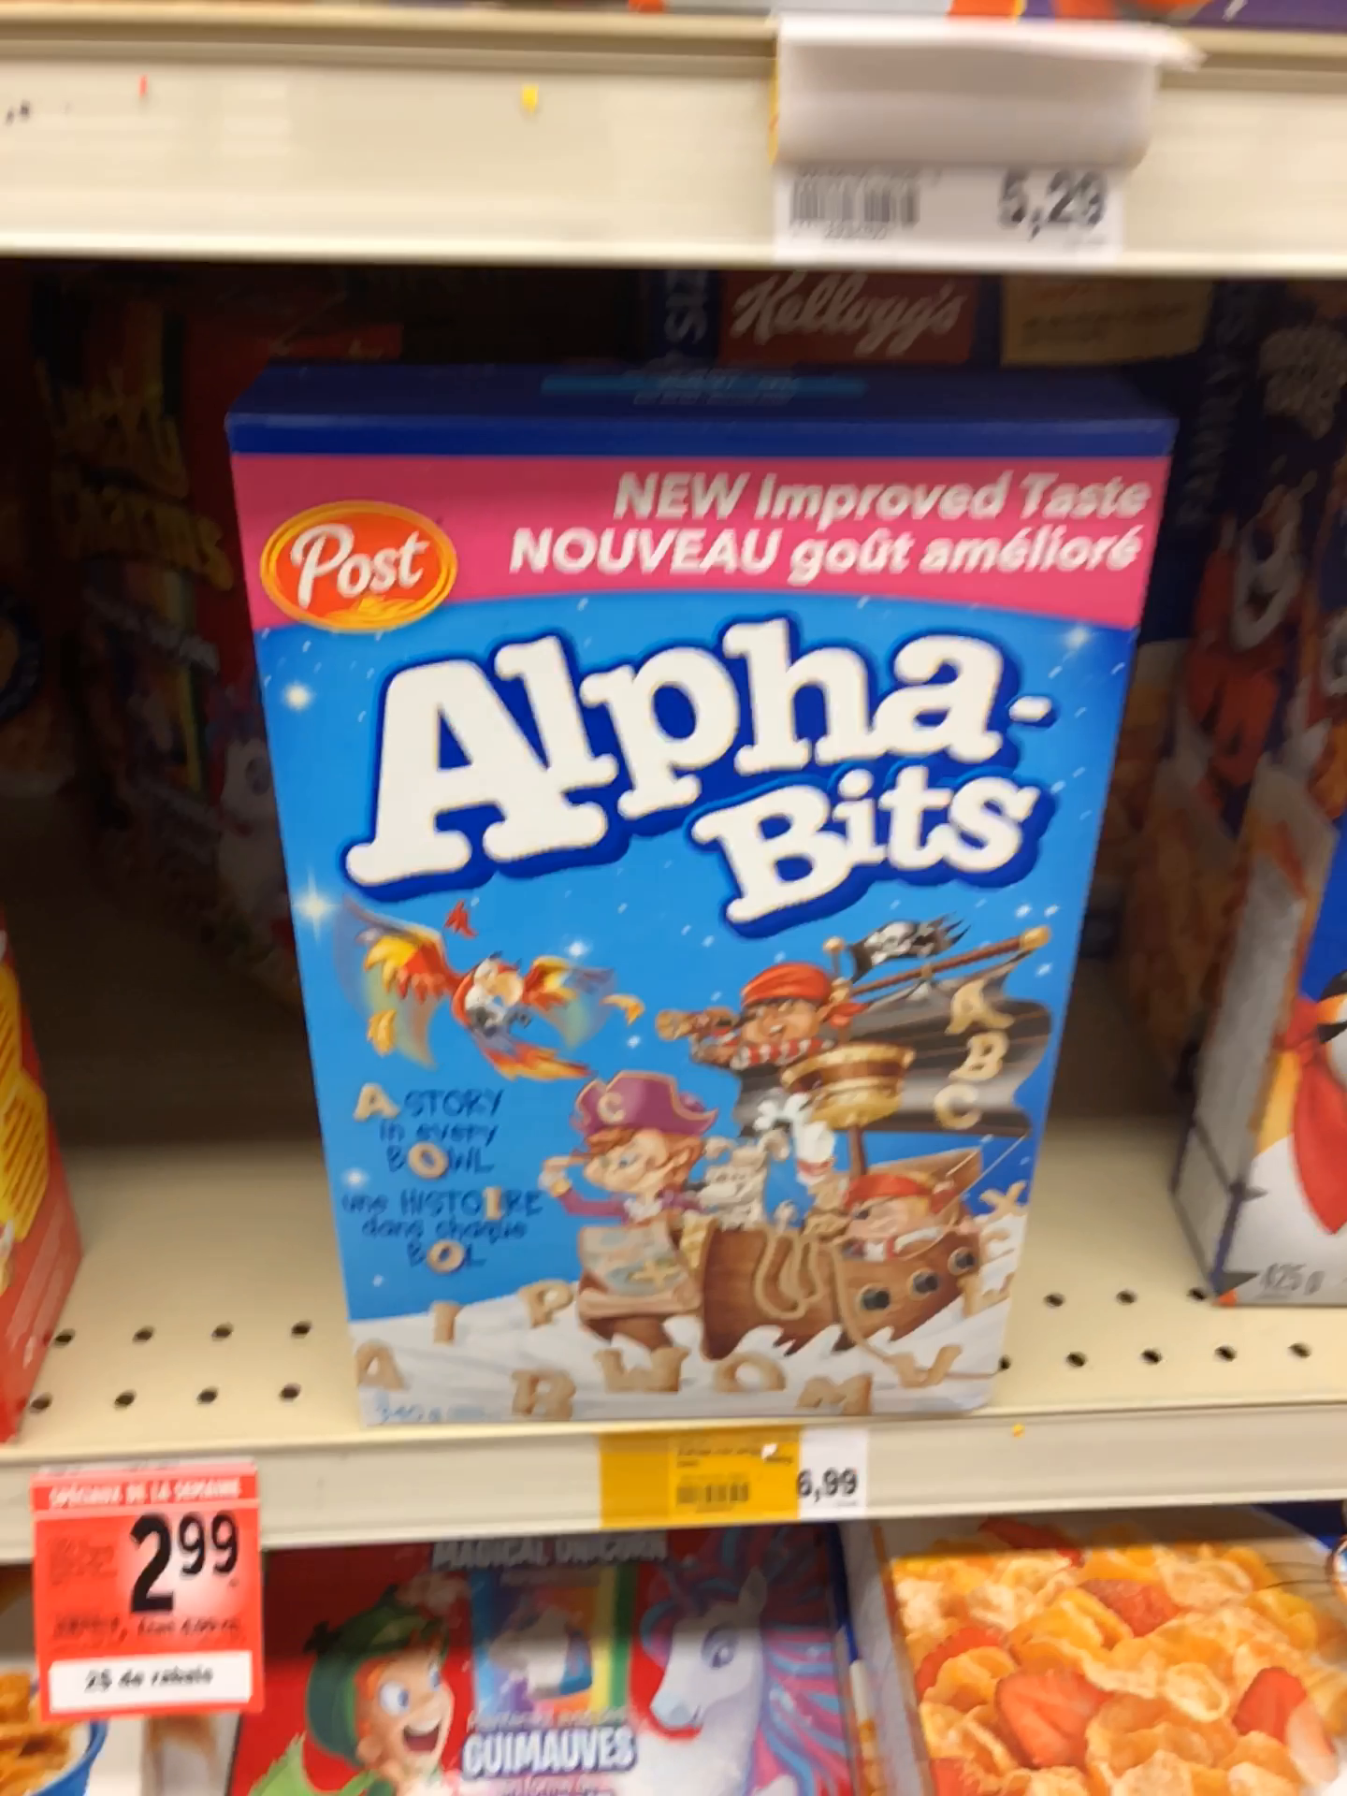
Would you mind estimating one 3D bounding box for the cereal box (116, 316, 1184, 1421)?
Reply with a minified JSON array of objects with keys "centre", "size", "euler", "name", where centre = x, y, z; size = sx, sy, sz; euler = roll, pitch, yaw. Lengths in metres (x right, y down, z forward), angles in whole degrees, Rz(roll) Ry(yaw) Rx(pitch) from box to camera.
[{"centre":[-0.008,0.014,0.386],"size":[0.200,0.297,0.061],"euler":[0,34,-3],"name":"cereal box"}]
